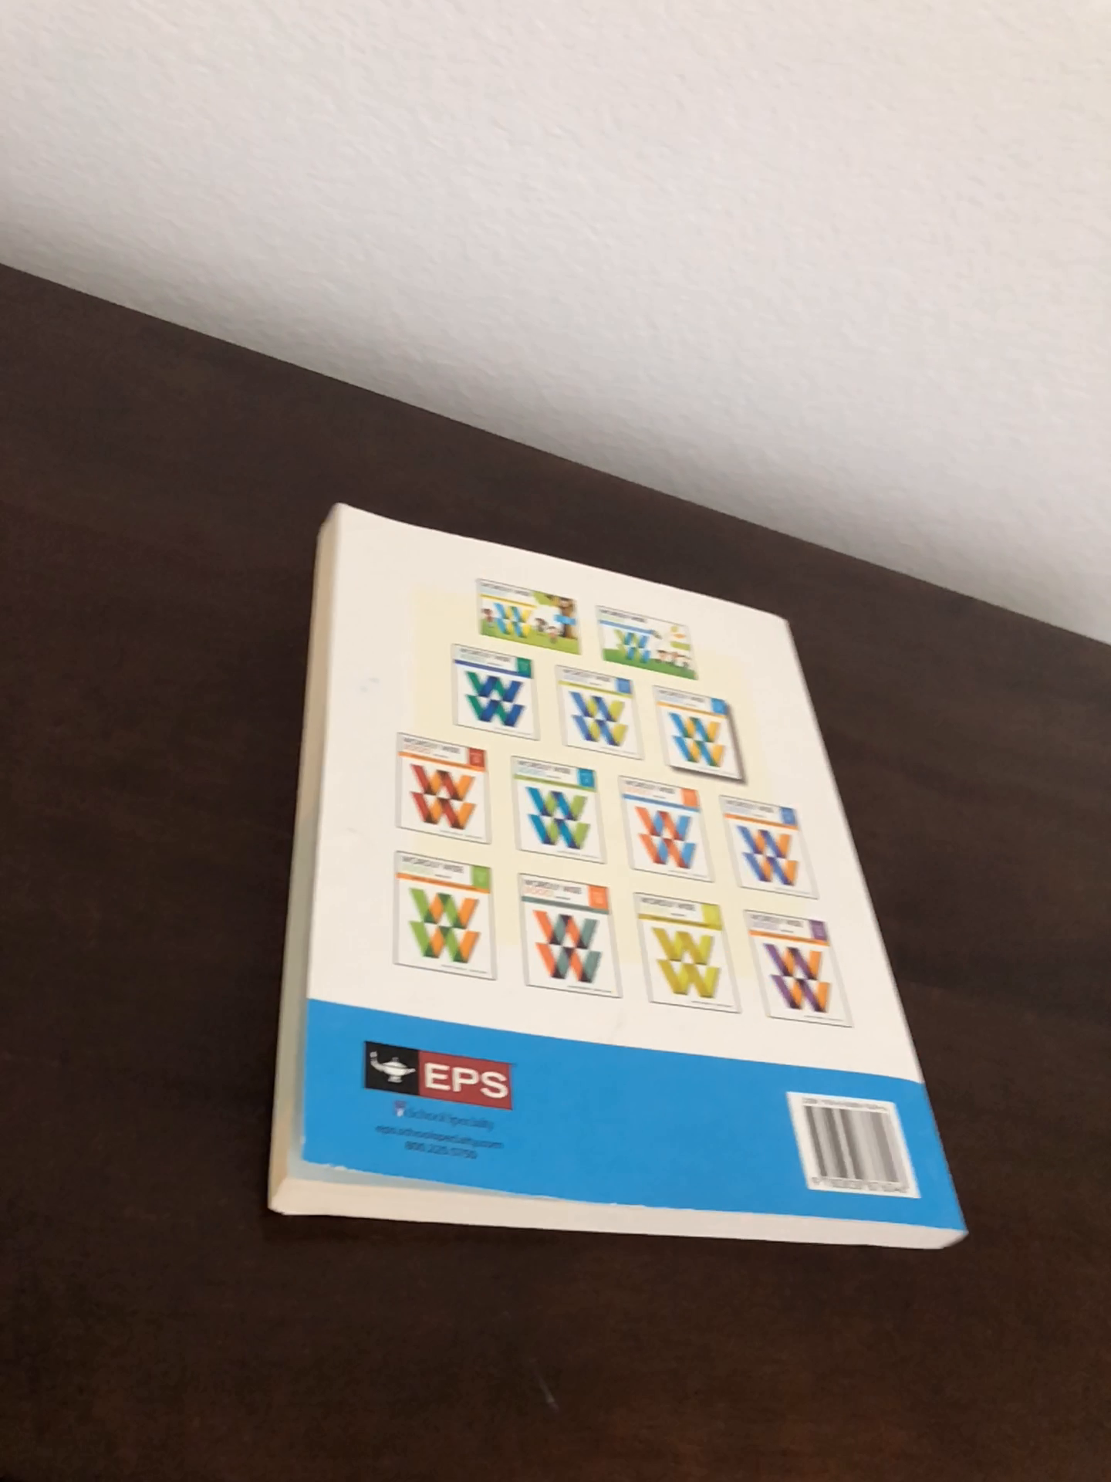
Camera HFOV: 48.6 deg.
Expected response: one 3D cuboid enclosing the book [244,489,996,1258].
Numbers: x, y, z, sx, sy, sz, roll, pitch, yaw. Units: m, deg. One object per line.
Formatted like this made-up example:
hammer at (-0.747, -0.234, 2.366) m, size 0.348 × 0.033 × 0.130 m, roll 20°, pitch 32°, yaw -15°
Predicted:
book at (0.017, 0.034, 0.440) m, size 0.220 × 0.031 × 0.272 m, roll 11°, pitch 47°, yaw -18°
